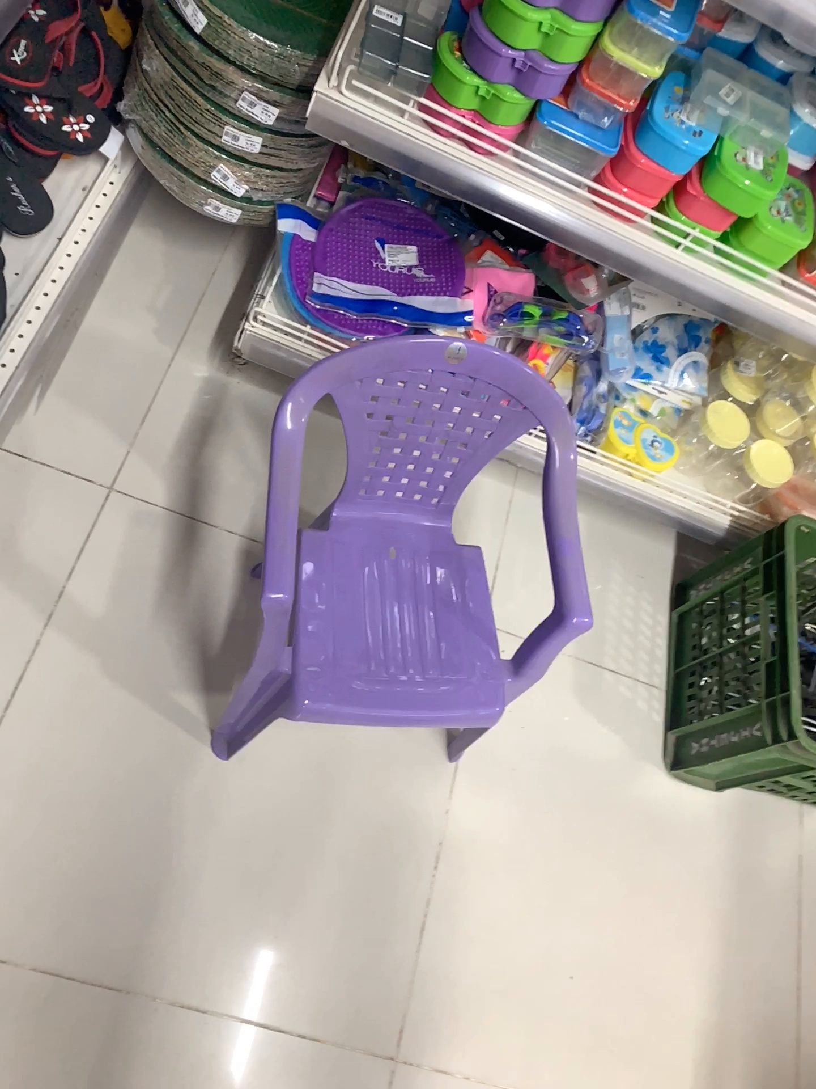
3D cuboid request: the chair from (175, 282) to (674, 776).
[{"bbox_3d":[-0.030,0.031,0.968,0.421,0.429,0.400,4,66,-18],"label":"chair"}]
